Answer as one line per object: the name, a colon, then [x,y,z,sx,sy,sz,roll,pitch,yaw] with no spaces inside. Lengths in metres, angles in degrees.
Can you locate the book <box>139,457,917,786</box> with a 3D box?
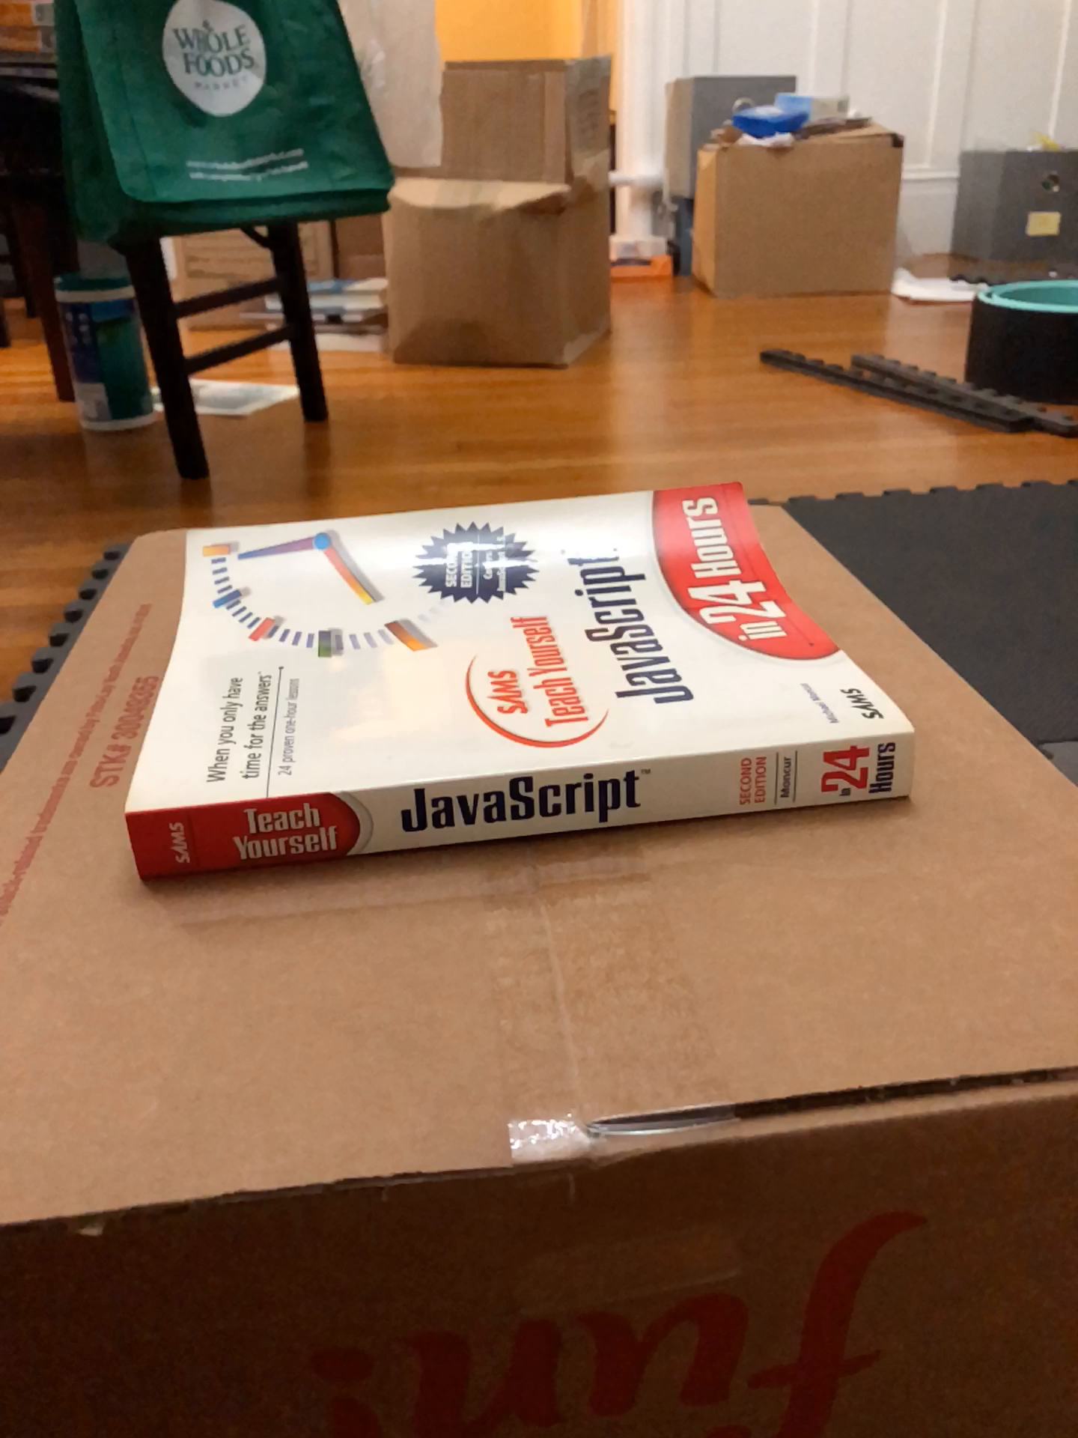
book: [-0.013,-0.051,0.459,0.240,0.030,0.201,-7,27,-6]
